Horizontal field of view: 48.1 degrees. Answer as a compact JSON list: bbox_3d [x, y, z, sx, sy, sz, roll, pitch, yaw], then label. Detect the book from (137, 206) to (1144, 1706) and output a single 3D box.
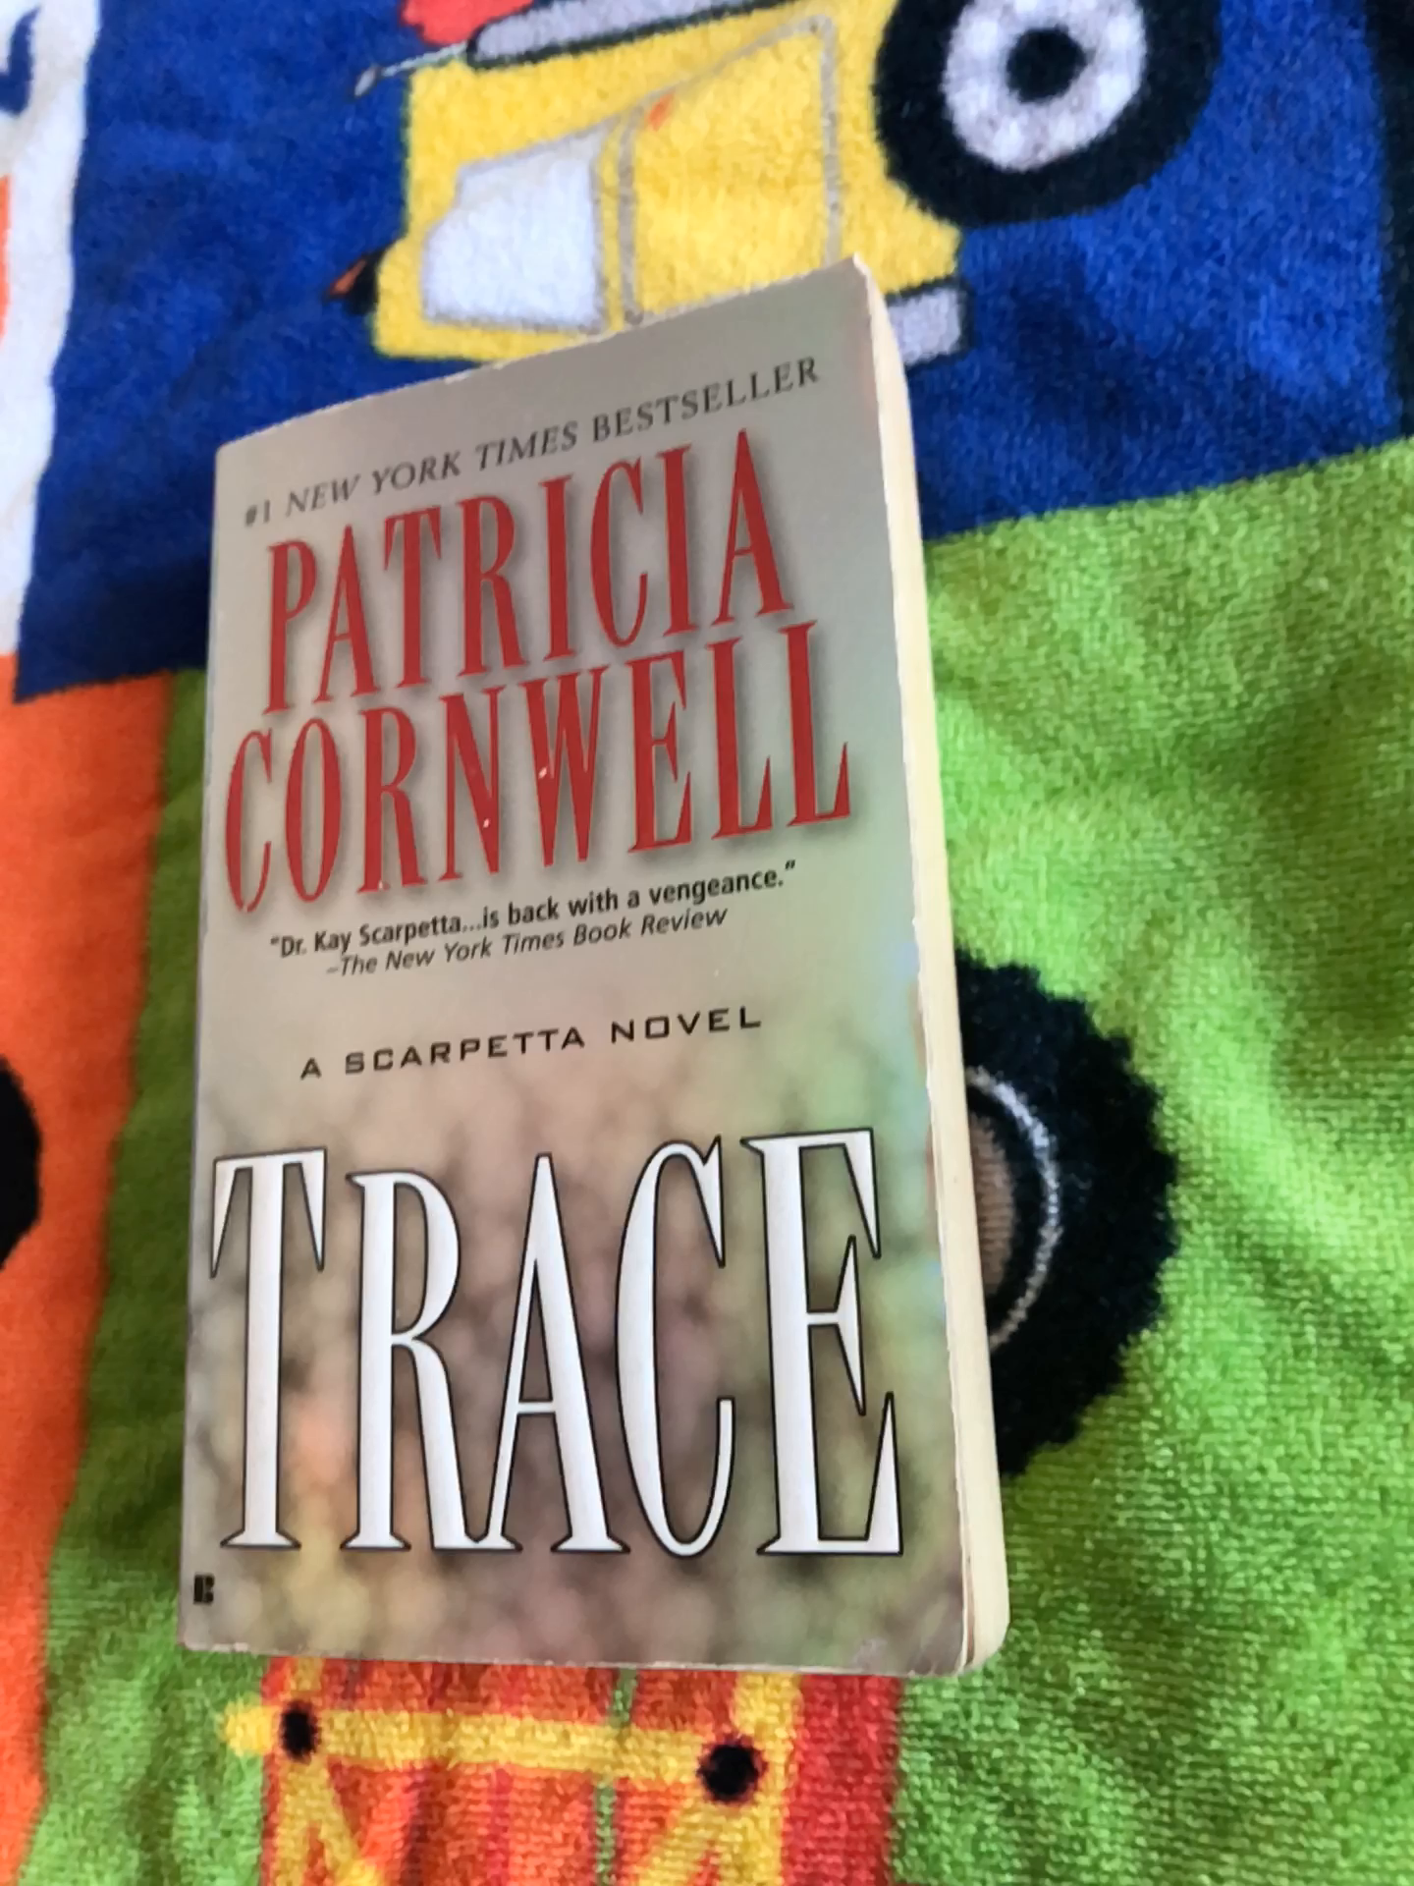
[{"bbox_3d":[-0.012,0.002,0.221,0.120,0.040,0.180,-7,75,18],"label":"book"}]
